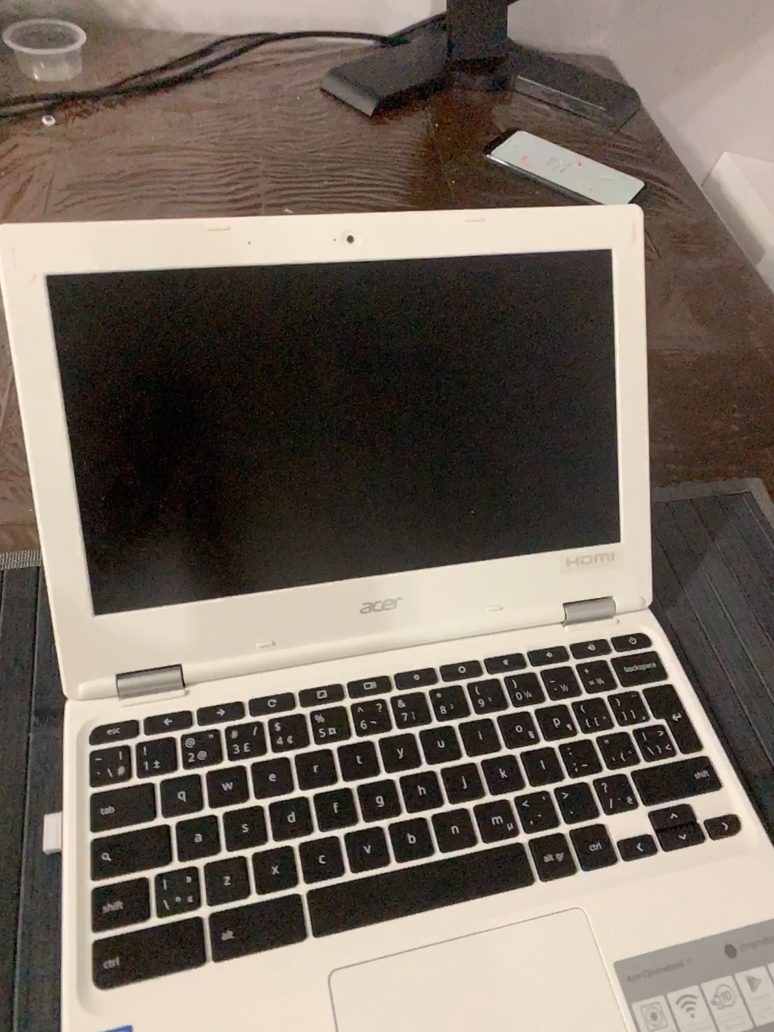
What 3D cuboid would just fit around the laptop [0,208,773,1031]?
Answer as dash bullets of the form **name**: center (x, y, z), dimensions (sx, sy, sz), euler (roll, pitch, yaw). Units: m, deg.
- **laptop**: center (0.012, 0.042, 0.303), dimensions (0.284, 0.142, 0.329), euler (-7, 53, -13)
